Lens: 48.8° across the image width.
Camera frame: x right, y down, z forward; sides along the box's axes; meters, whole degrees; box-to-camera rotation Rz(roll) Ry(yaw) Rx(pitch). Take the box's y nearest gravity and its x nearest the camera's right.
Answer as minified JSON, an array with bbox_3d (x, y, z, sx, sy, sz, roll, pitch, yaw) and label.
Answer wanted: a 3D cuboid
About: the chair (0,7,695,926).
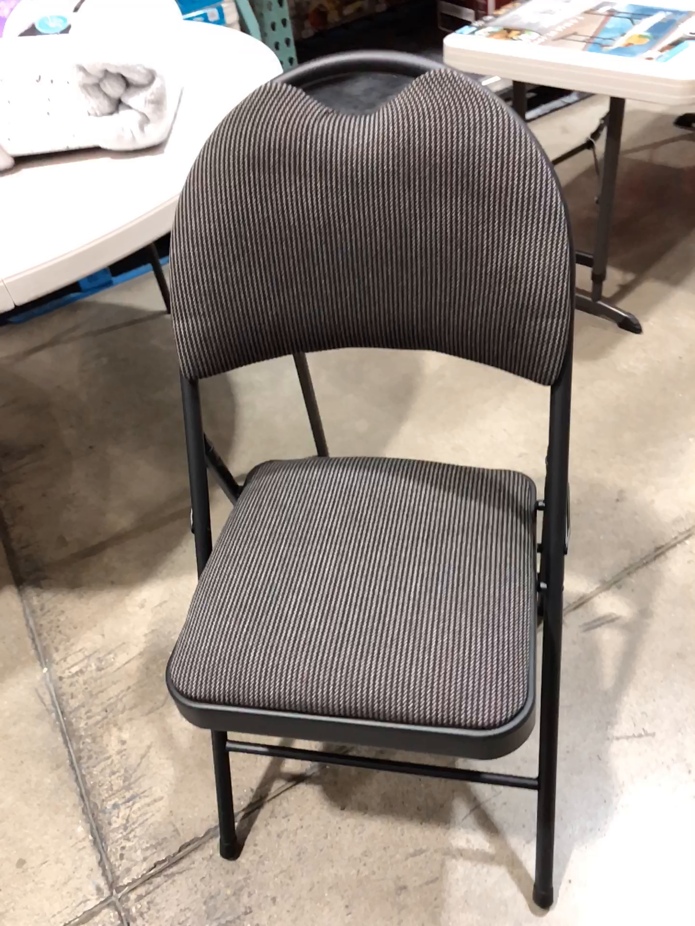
[{"bbox_3d":[0.042,0.068,0.874,0.511,0.857,0.561,4,46,14],"label":"chair"}]
